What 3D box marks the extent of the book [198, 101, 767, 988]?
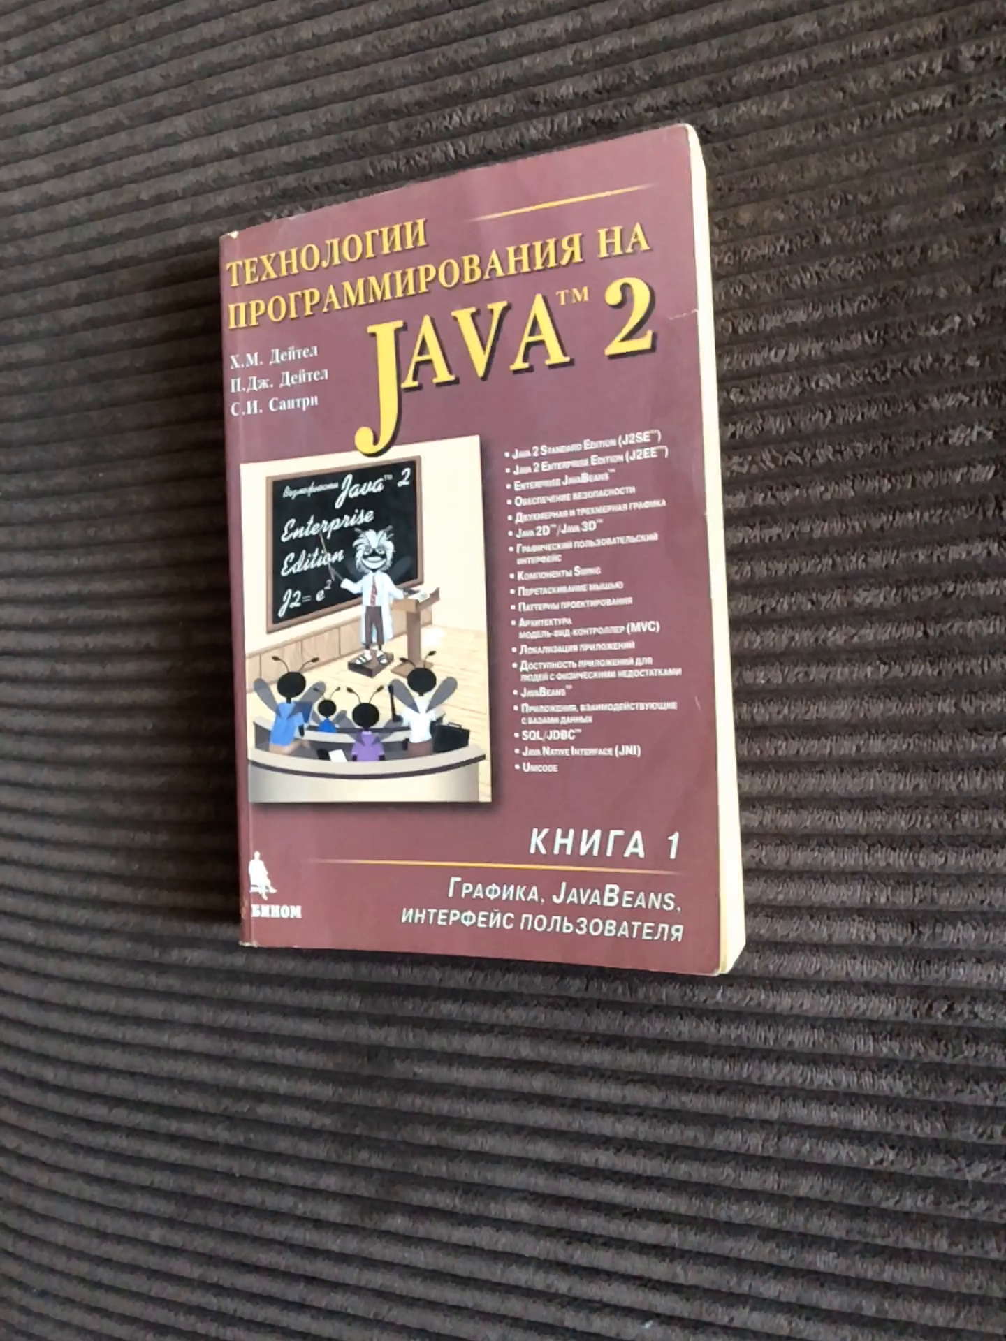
[{"bbox_3d":[-0.011,-0.031,0.351,0.165,0.050,0.240,-4,85,22],"label":"book"}]
